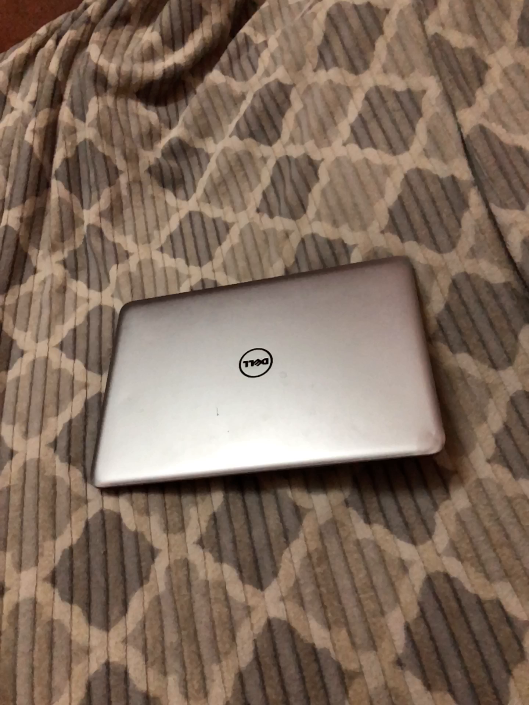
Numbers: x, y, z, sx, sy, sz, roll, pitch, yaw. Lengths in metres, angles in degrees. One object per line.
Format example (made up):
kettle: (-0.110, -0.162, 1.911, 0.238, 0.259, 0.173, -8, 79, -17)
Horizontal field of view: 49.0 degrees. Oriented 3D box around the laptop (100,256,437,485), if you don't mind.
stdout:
laptop: (-0.007, 0.015, 0.675, 0.359, 0.007, 0.252, -8, 56, 11)
